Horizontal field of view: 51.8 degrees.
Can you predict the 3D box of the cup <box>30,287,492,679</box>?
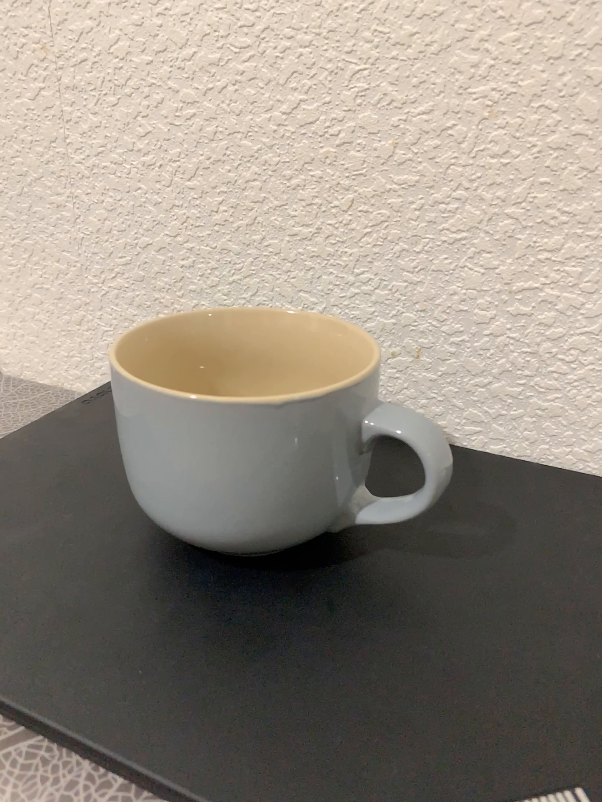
[{"bbox_3d":[-0.011,0.014,0.248,0.133,0.079,0.111,15,28,28],"label":"cup"}]
